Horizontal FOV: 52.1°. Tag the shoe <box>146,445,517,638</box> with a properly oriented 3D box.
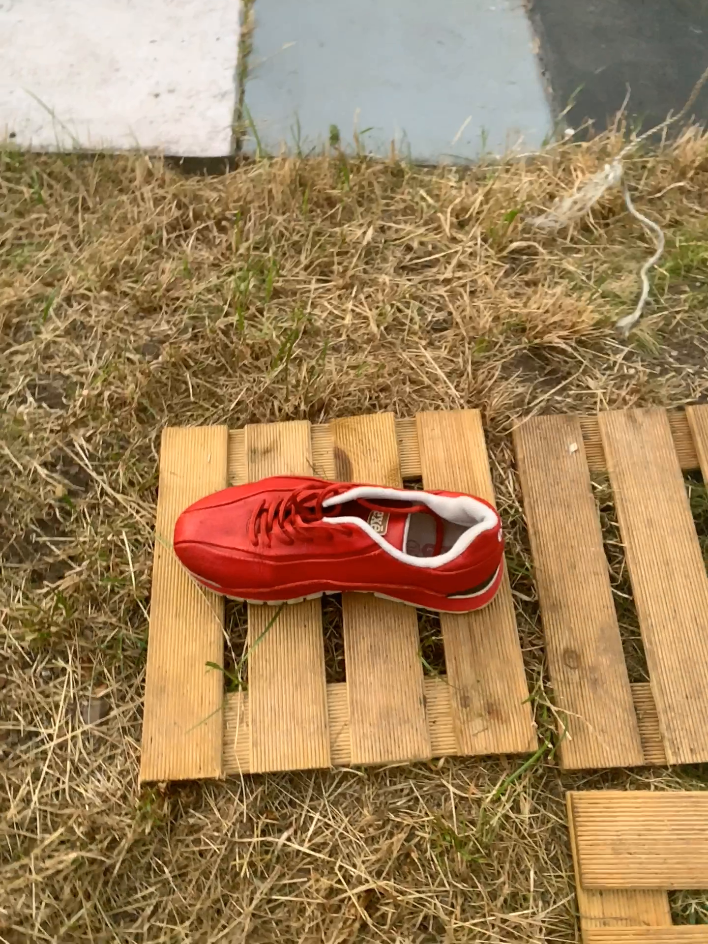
[{"bbox_3d":[-0.010,0.055,0.571,0.260,0.099,0.101,4,62,8],"label":"shoe"}]
